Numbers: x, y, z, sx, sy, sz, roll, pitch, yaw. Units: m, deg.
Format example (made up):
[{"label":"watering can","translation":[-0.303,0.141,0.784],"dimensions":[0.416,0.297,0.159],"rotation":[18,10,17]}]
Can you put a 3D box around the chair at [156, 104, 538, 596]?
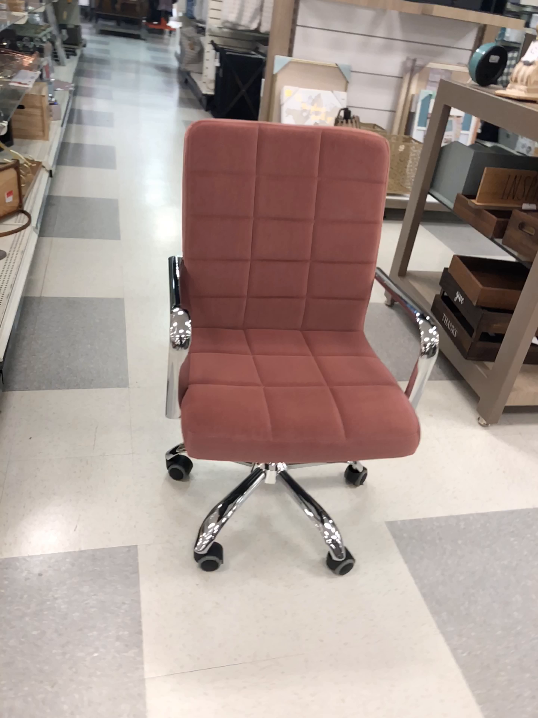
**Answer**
[{"label":"chair","translation":[0.061,-0.023,1.288],"dimensions":[0.565,0.841,0.572],"rotation":[1,32,-13]}]
